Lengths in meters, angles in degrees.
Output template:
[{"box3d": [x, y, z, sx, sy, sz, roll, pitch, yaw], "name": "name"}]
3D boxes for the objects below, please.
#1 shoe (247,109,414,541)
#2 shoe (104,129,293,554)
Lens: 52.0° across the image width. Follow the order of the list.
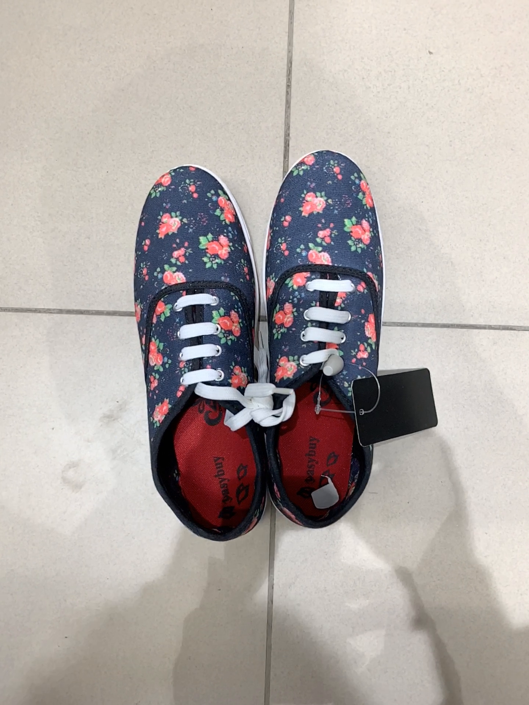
[{"box3d": [0.043, -0.018, 0.380, 0.100, 0.080, 0.270, 1, 87, 2], "name": "shoe"}, {"box3d": [-0.044, -0.007, 0.395, 0.100, 0.080, 0.270, -6, 87, 1], "name": "shoe"}]
